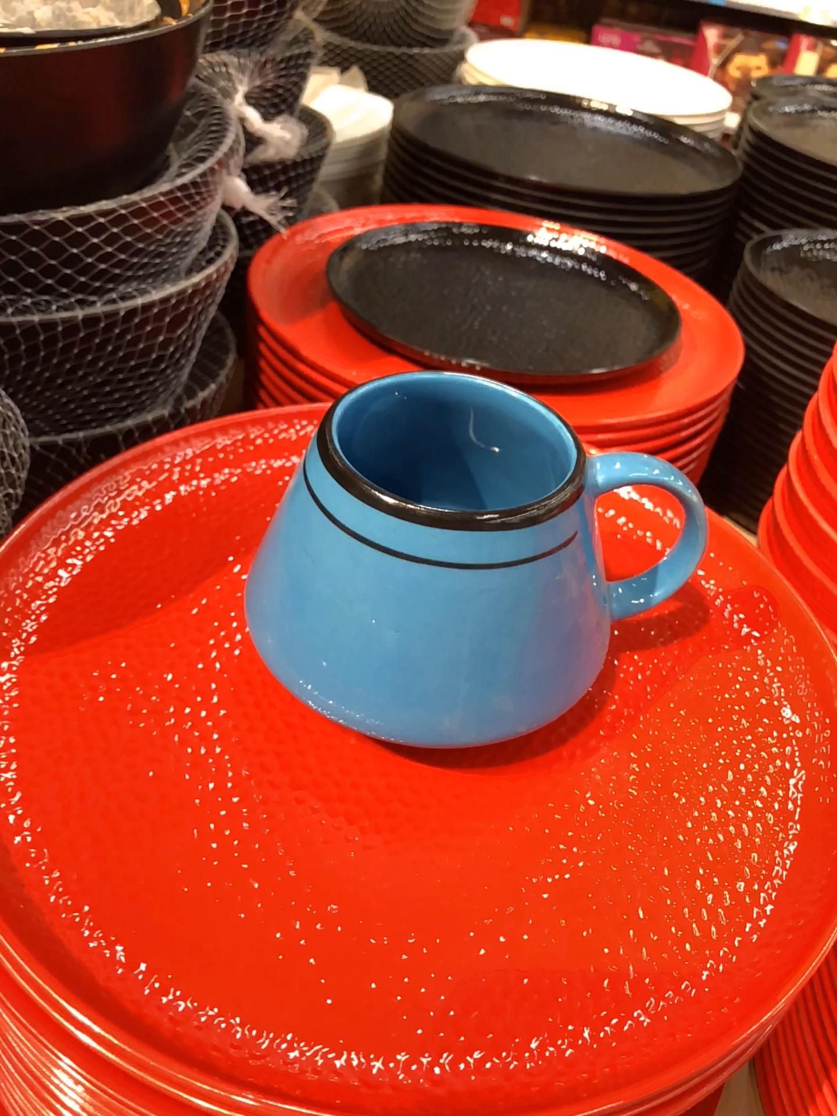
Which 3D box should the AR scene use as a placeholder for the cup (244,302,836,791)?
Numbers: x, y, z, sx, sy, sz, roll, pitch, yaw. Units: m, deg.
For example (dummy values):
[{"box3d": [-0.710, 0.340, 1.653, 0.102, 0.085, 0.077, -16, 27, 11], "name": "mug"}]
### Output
[{"box3d": [0.020, -0.008, 0.277, 0.140, 0.089, 0.111, 0, 38, -11], "name": "cup"}]
